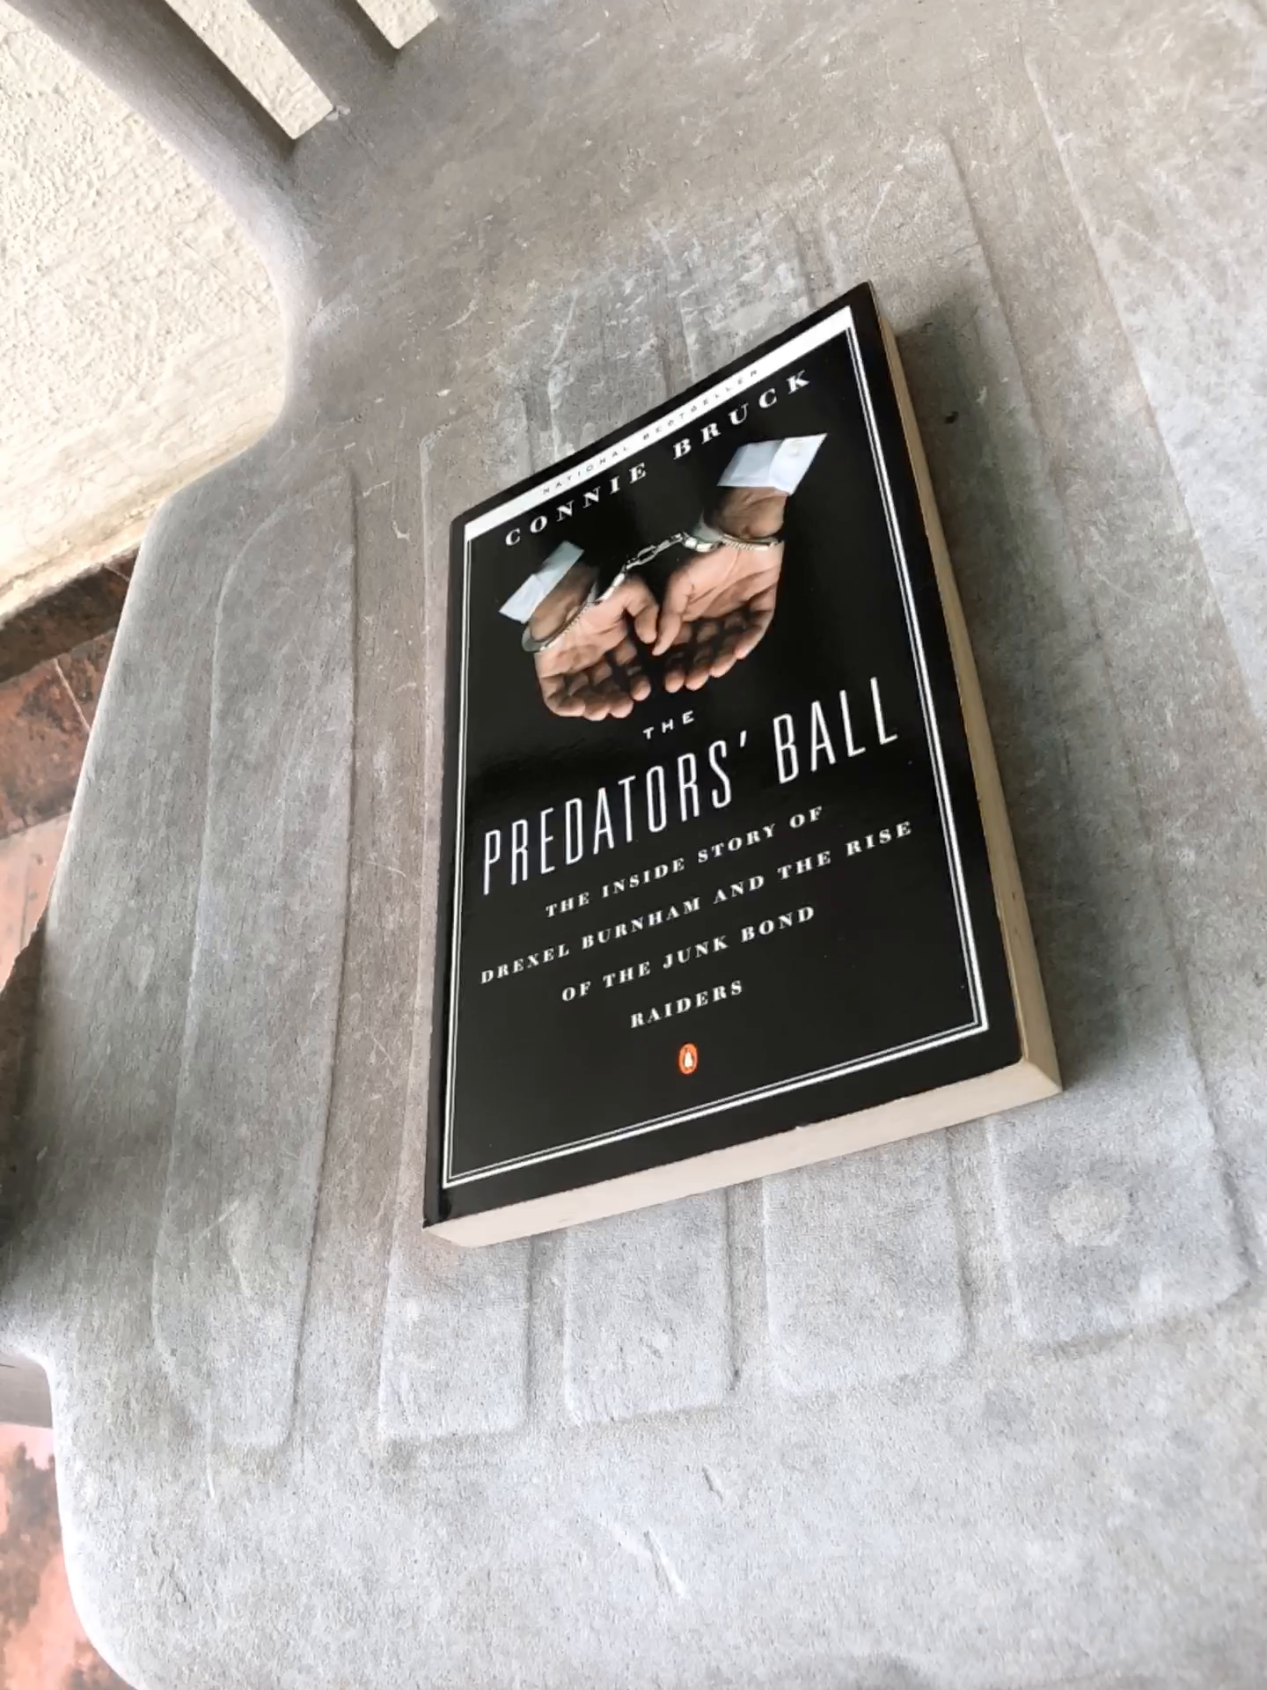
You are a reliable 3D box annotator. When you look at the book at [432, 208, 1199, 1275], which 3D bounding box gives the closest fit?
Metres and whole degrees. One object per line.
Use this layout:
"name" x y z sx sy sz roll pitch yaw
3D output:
"book" 0.022 -0.028 0.310 0.140 0.030 0.210 -22 53 28
